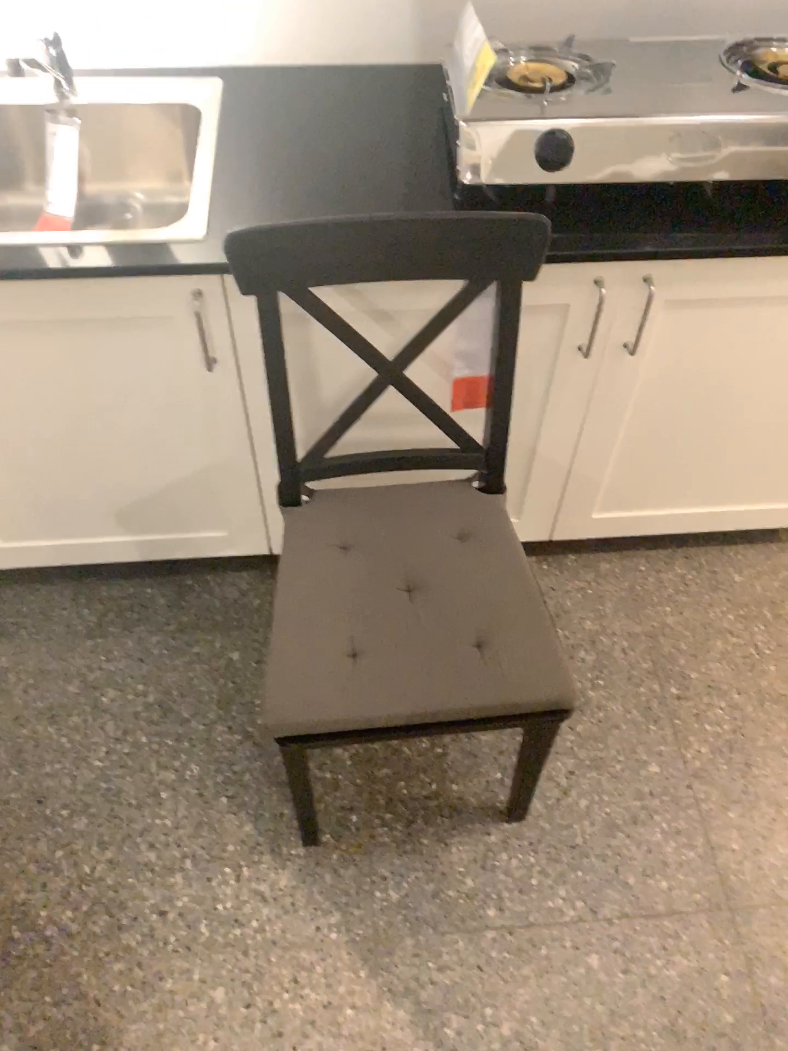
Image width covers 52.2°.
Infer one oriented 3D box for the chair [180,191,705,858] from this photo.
[{"bbox_3d":[0.007,0.057,1.094,0.420,0.787,0.492,-5,52,-5],"label":"chair"}]
